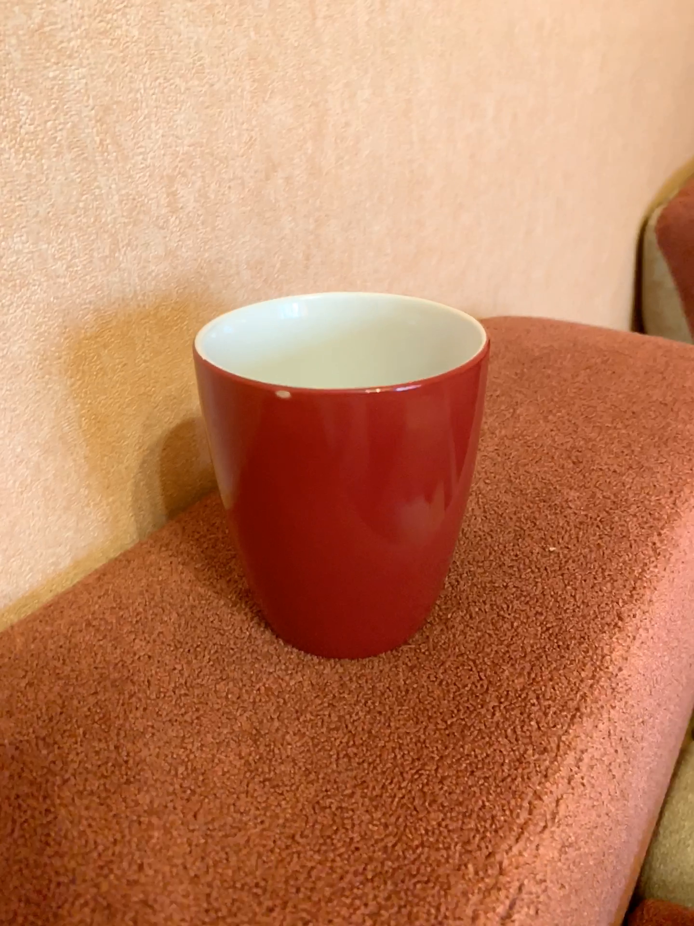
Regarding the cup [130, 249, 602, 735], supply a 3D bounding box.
[{"bbox_3d":[0.012,-0.004,0.233,0.083,0.091,0.122,21,37,32],"label":"cup"}]
